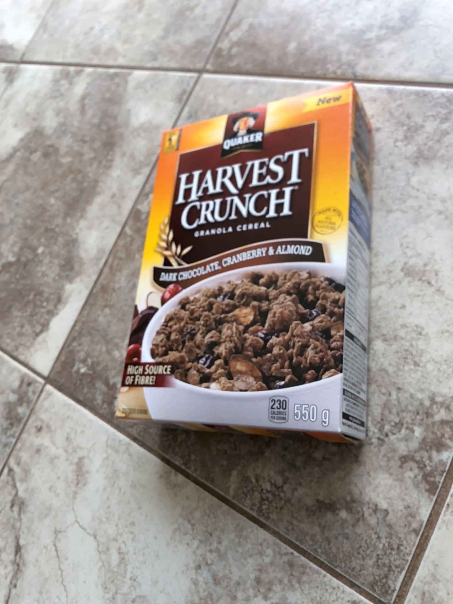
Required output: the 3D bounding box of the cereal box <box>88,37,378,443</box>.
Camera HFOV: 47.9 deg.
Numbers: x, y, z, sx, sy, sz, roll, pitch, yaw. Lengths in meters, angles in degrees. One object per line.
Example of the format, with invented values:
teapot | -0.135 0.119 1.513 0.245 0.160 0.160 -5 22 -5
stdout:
cereal box | 0.012 -0.038 0.363 0.171 0.070 0.250 -4 69 29
